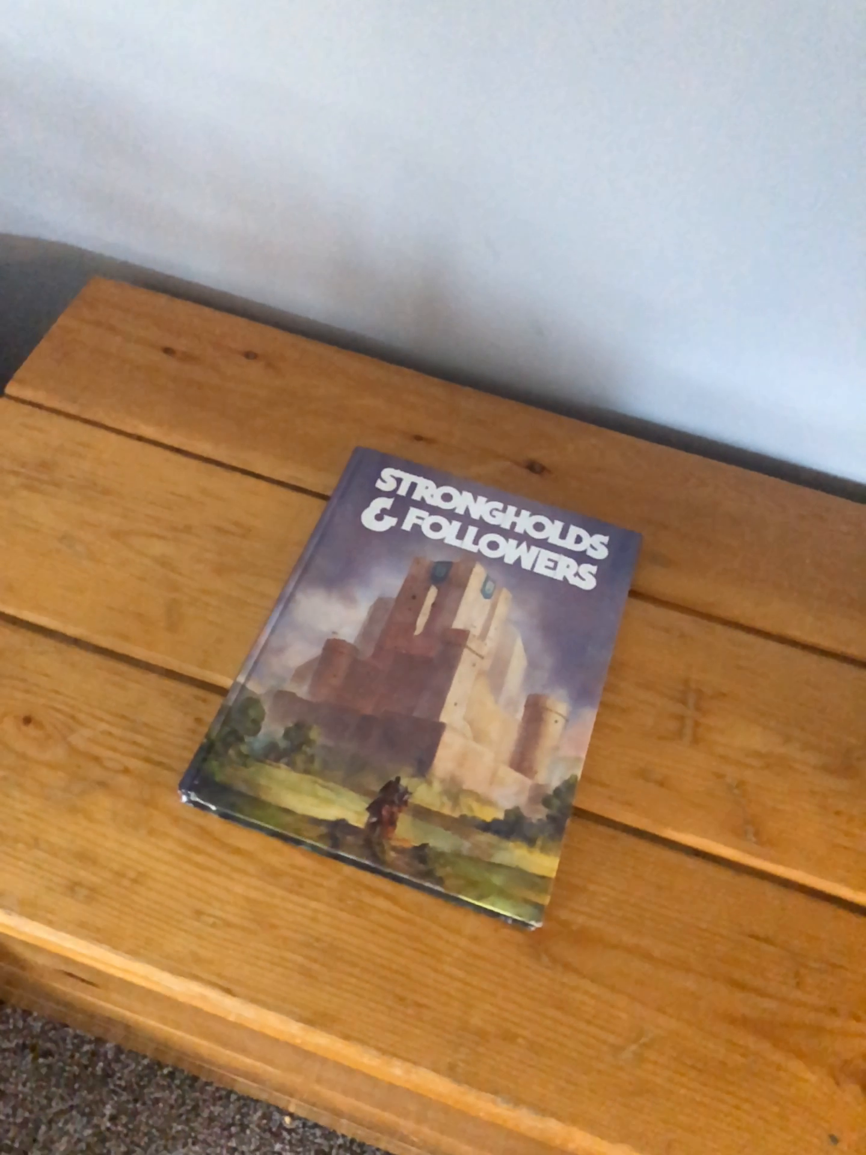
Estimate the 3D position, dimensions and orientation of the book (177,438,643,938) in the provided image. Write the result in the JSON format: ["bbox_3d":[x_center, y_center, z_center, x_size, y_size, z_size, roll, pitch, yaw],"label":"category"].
[{"bbox_3d":[-0.001,0.053,0.619,0.212,0.042,0.281,18,57,7],"label":"book"}]
